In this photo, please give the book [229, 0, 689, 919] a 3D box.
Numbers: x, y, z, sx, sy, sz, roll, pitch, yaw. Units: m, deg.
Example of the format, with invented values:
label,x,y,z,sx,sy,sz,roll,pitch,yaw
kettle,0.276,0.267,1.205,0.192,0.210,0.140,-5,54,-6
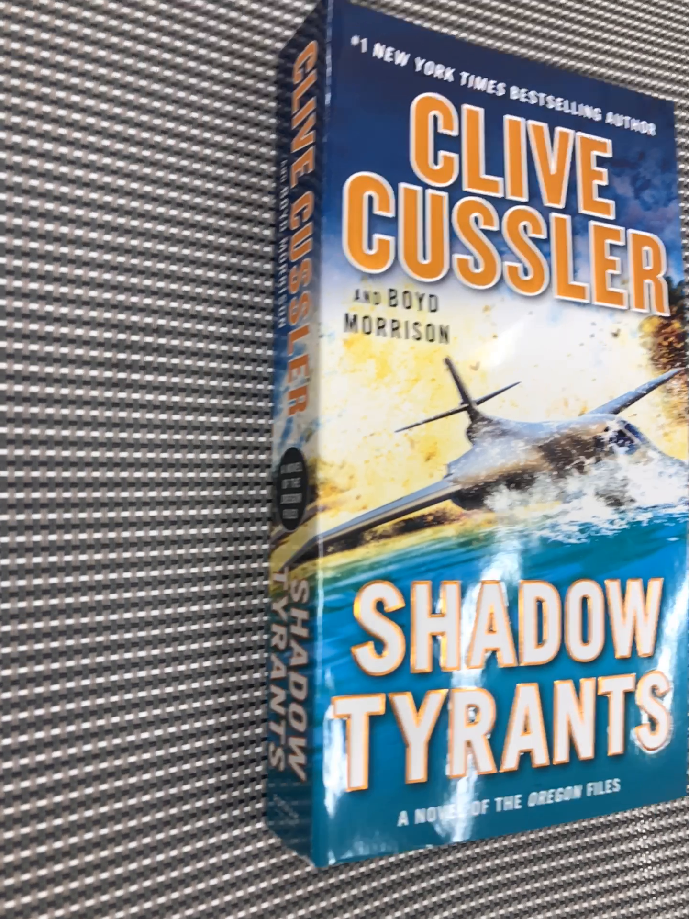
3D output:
label,x,y,z,sx,sy,sz,roll,pitch,yaw
book,0.040,-0.003,0.196,0.120,0.060,0.180,3,83,-26
